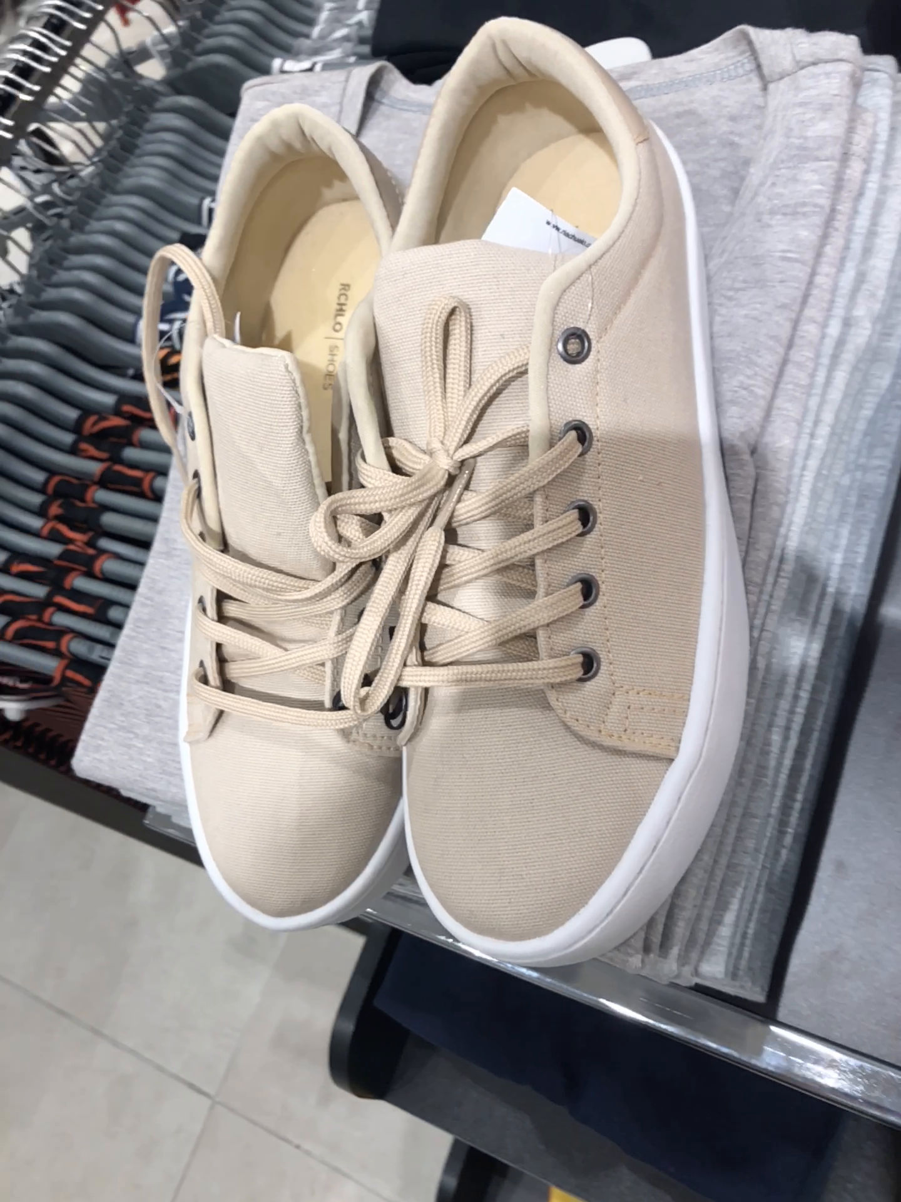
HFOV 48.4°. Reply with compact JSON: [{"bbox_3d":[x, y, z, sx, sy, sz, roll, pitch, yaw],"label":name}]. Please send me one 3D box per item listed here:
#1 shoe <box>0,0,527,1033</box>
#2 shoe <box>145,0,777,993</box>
[{"bbox_3d":[-0.050,-0.034,0.313,0.100,0.110,0.280,5,80,15],"label":"shoe"},{"bbox_3d":[0.027,-0.051,0.295,0.110,0.110,0.291,0,67,24],"label":"shoe"}]
